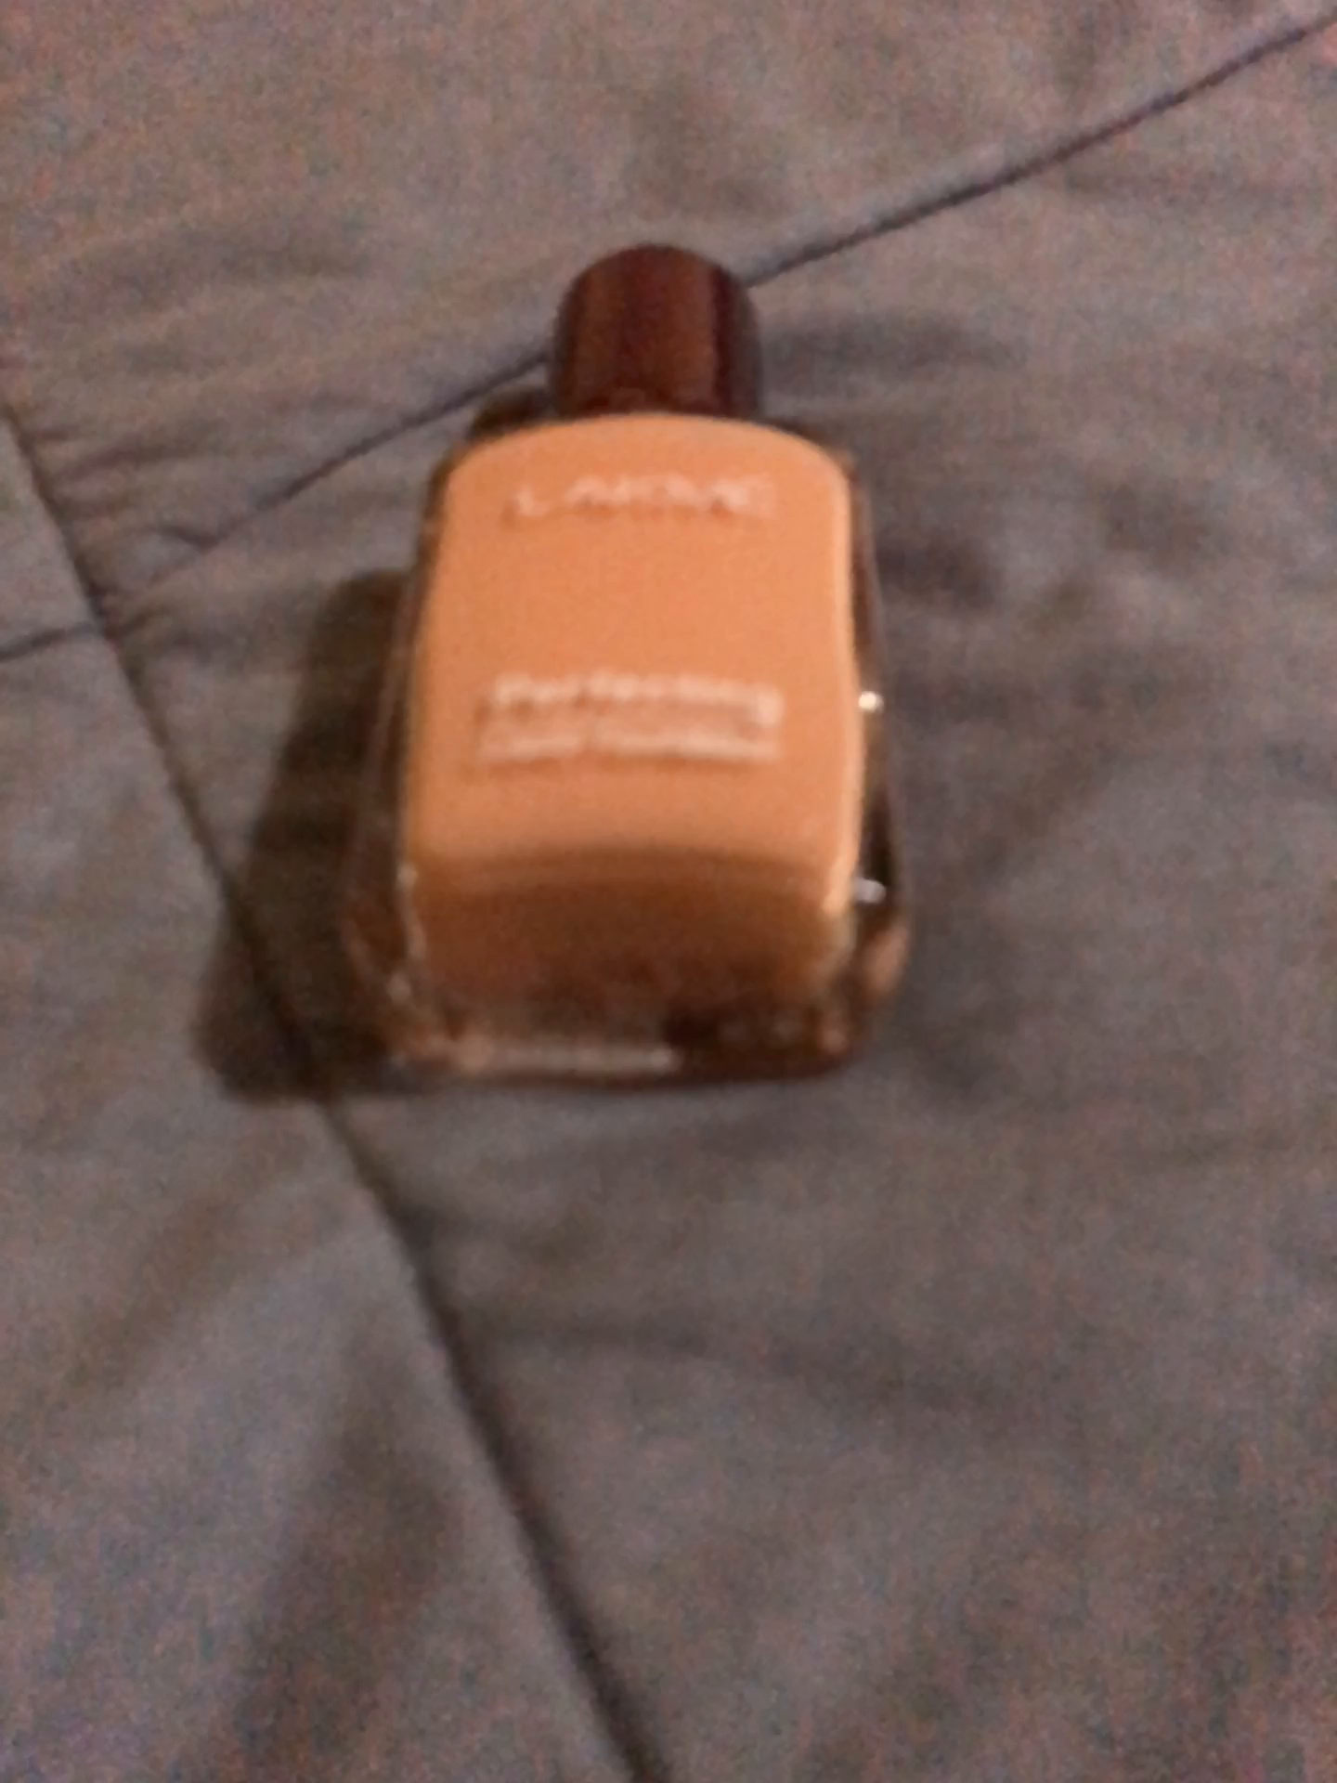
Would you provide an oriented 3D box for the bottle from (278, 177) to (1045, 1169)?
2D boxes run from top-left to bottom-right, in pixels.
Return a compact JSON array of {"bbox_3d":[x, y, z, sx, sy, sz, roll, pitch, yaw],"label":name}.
[{"bbox_3d":[0.001,-0.030,0.144,0.050,0.030,0.110,2,49,1],"label":"bottle"}]
